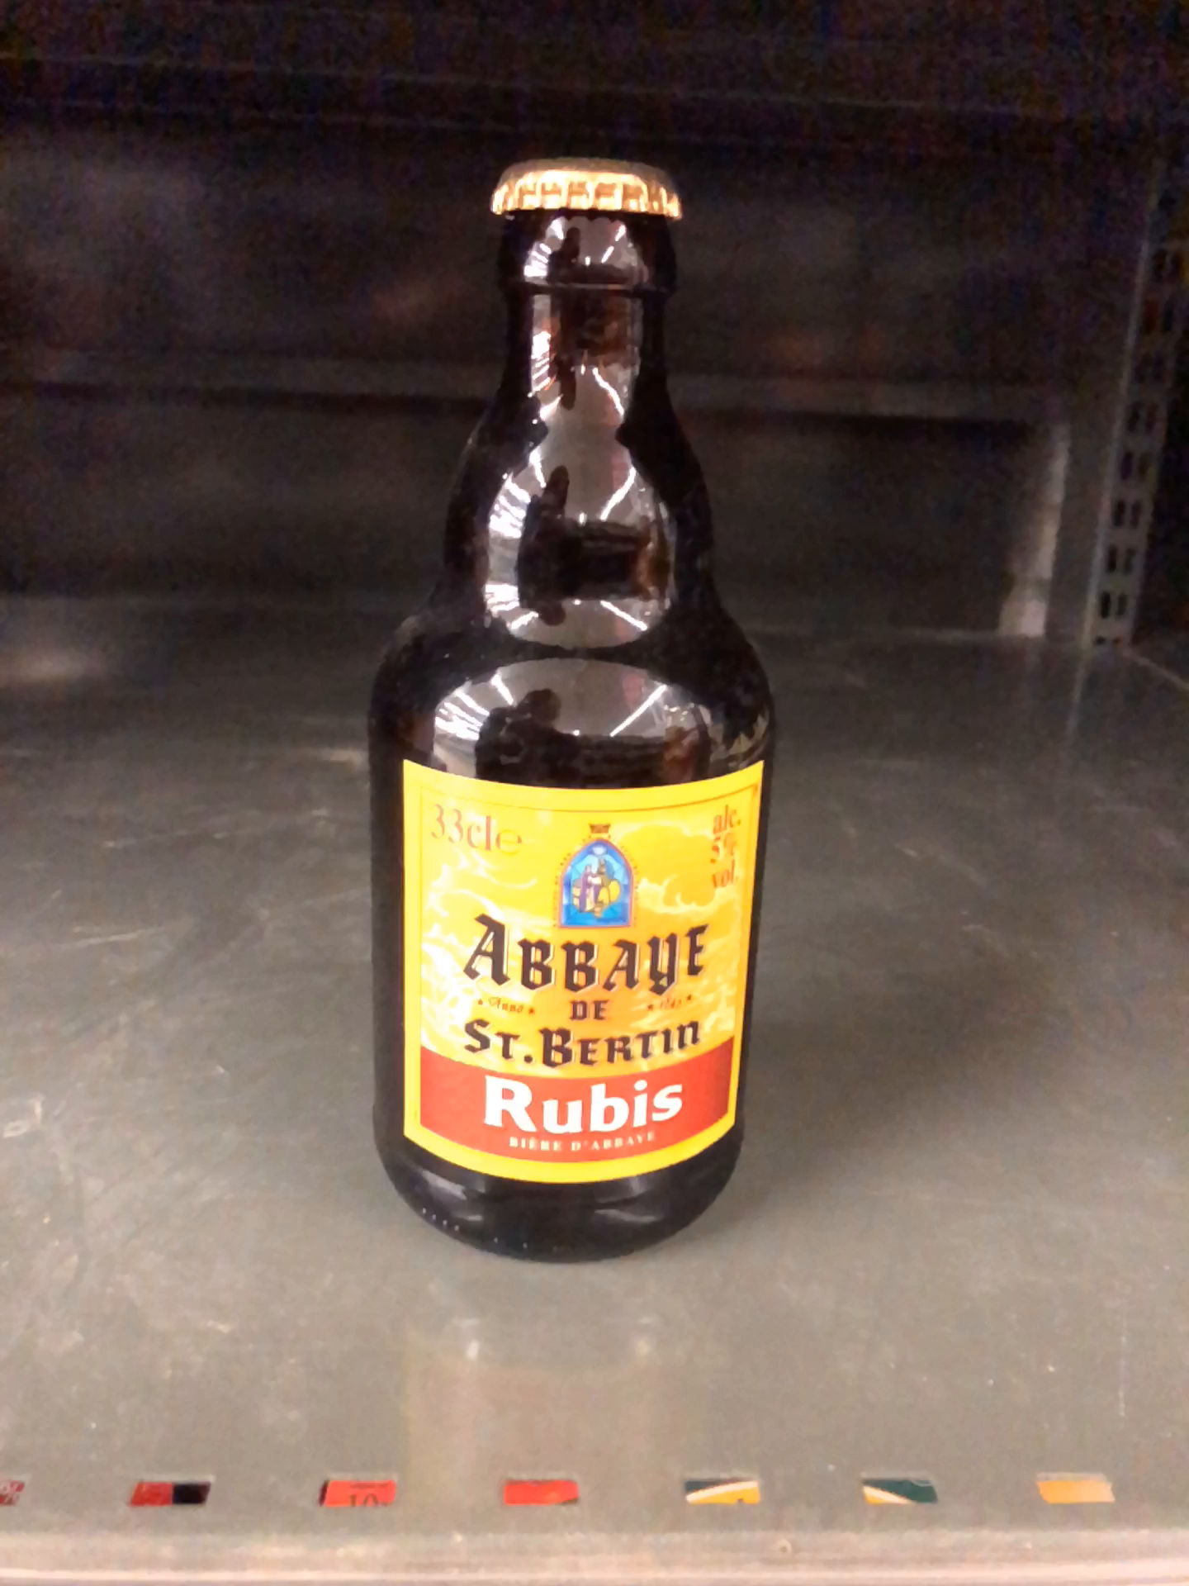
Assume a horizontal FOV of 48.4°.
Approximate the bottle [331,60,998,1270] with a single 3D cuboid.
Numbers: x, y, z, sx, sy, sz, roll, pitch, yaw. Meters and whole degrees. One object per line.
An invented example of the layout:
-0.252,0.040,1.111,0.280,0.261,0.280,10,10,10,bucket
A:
0.005,-0.016,0.217,0.080,0.169,0.070,1,18,-3,bottle
